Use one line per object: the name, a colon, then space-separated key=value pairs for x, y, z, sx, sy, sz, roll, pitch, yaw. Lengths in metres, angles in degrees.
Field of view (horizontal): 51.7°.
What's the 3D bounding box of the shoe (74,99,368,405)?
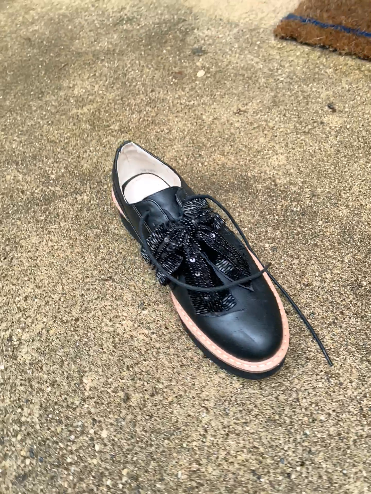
shoe: x=0.014 y=-0.008 z=0.363 sx=0.106 sy=0.121 sz=0.259 roll=-31 pitch=58 yaw=-15
